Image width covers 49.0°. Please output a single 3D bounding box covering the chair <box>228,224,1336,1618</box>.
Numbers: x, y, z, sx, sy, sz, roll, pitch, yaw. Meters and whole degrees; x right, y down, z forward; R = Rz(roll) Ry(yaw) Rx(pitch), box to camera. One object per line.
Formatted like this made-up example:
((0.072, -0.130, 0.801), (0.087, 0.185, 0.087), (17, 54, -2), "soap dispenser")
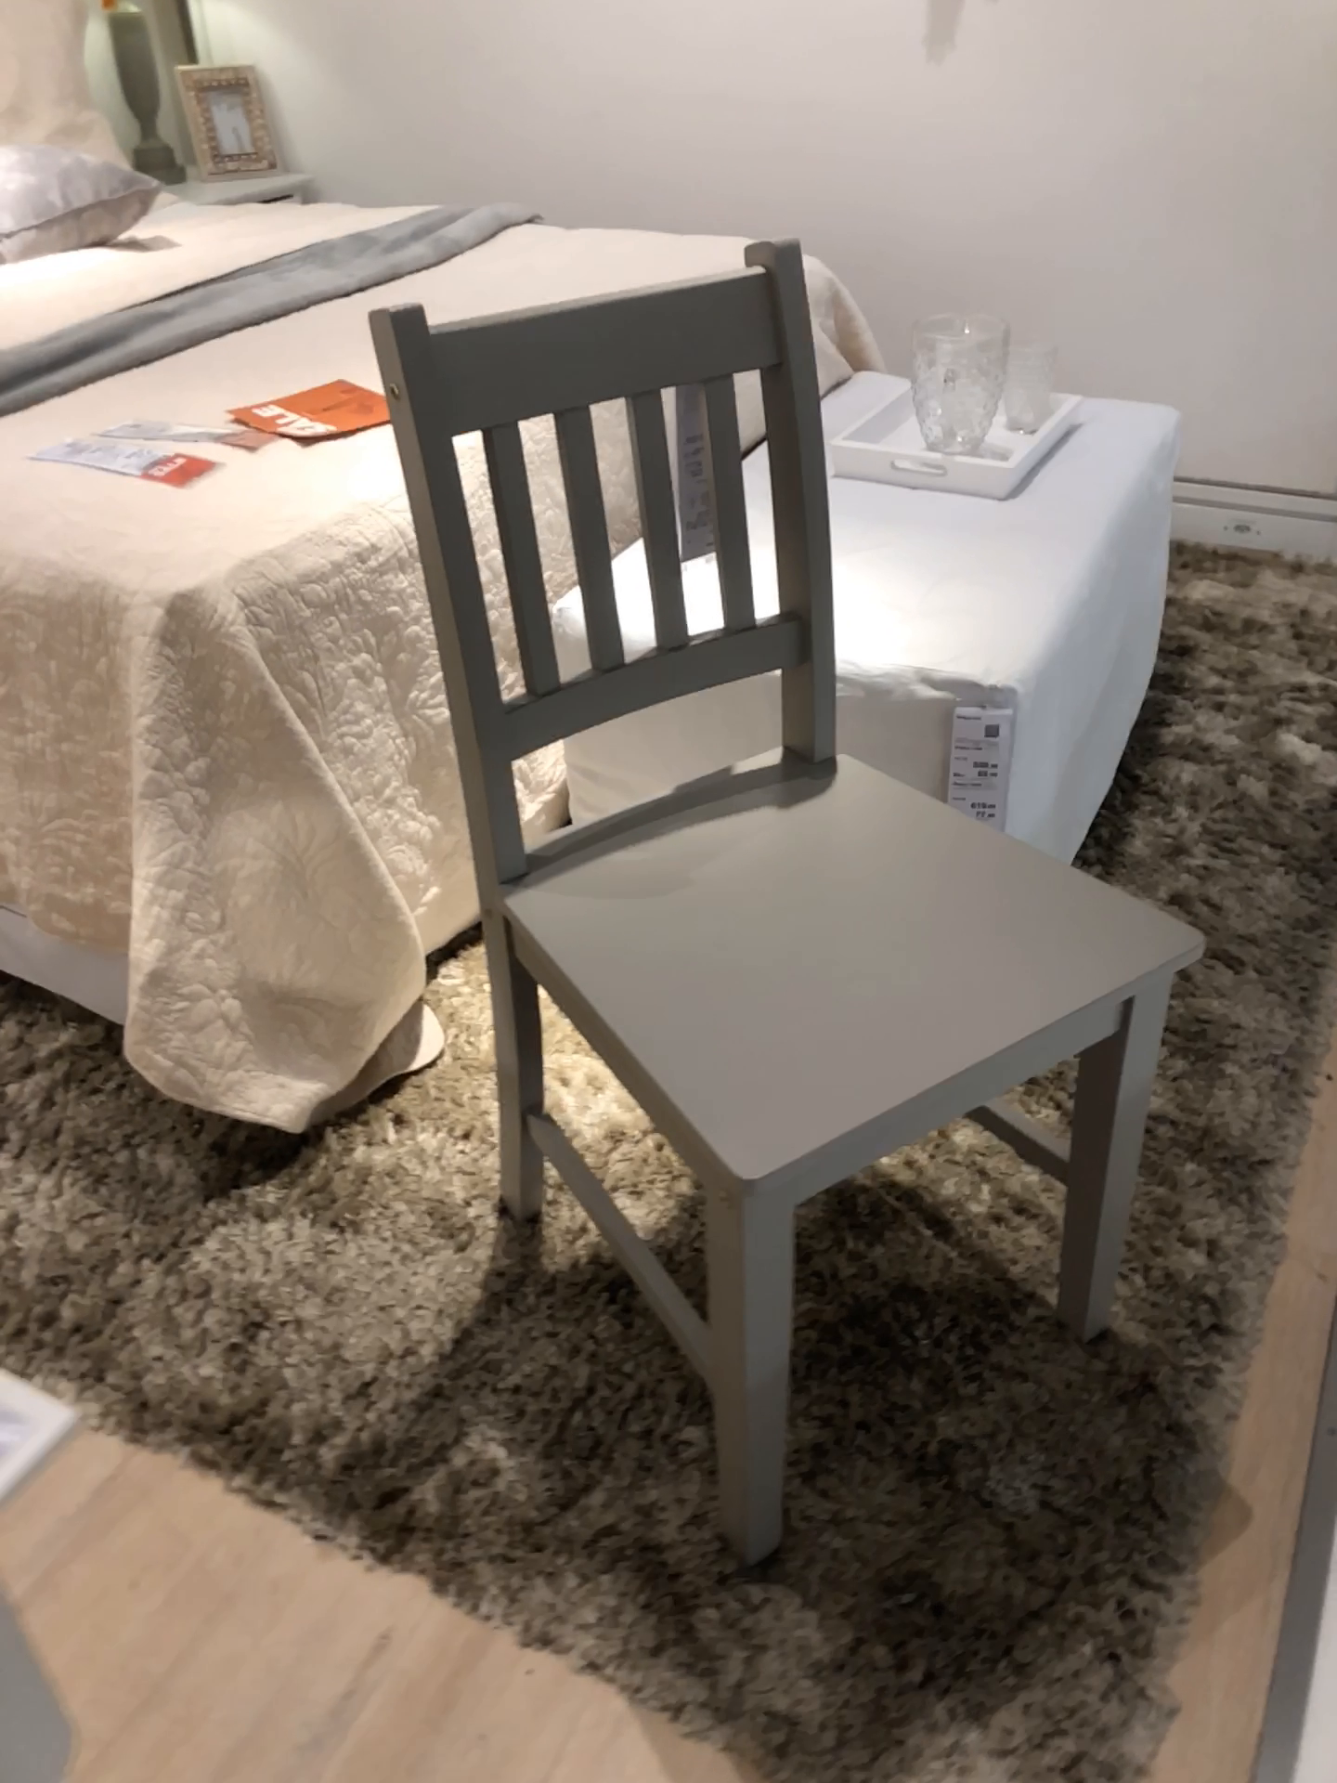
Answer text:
((0.062, -0.010, 1.146), (0.481, 0.823, 0.533), (-22, 39, -28), "chair")
